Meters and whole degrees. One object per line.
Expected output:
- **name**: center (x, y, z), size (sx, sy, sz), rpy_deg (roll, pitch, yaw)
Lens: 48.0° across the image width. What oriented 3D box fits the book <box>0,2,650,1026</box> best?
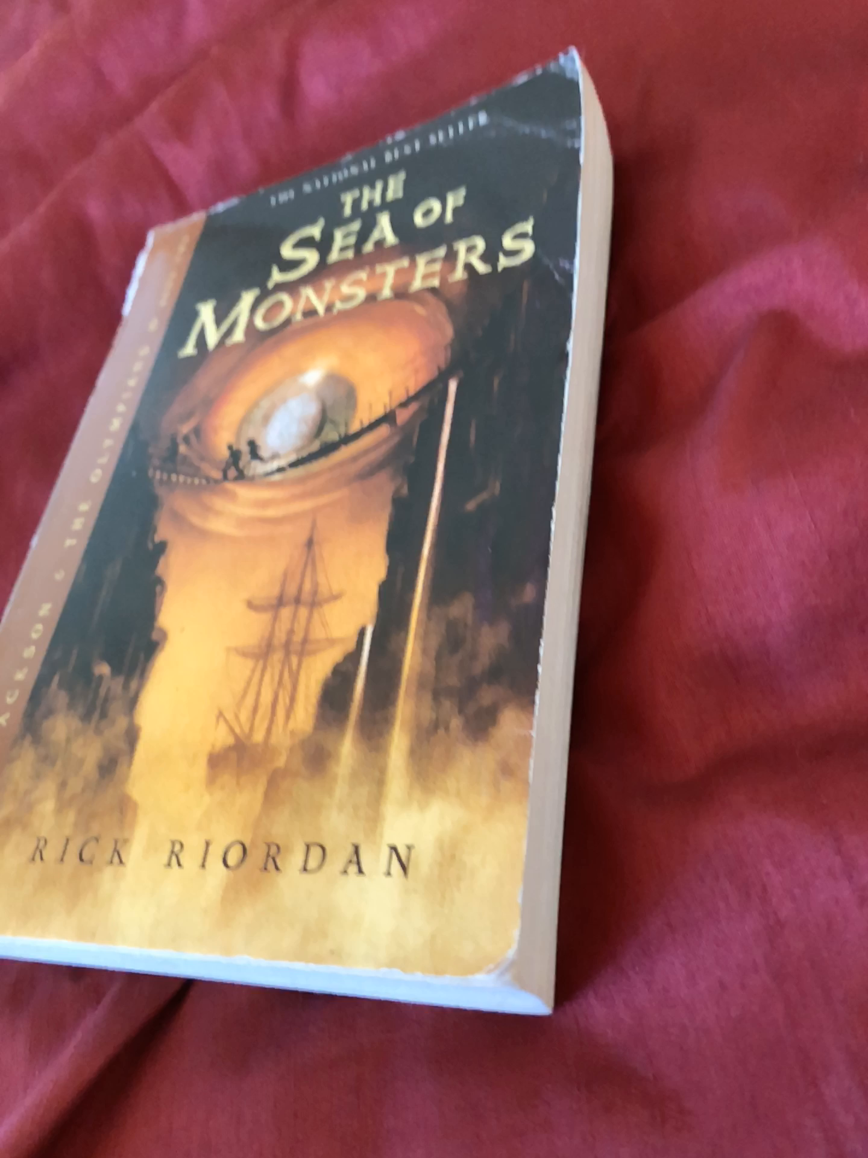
- **book**: center (-0.033, -0.021, 0.209), size (0.145, 0.030, 0.197), rpy_deg (-7, 59, 29)
